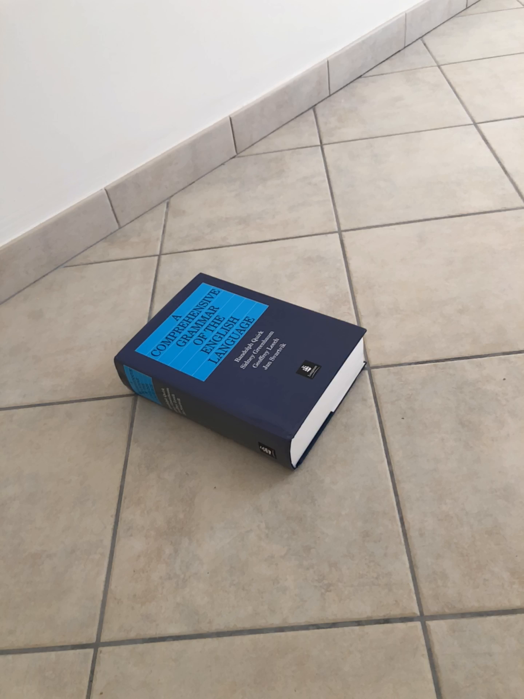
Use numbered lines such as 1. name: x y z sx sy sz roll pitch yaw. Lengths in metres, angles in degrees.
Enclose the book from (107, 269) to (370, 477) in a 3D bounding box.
1. book: -0.026 0.014 0.700 0.256 0.066 0.181 21 54 27
